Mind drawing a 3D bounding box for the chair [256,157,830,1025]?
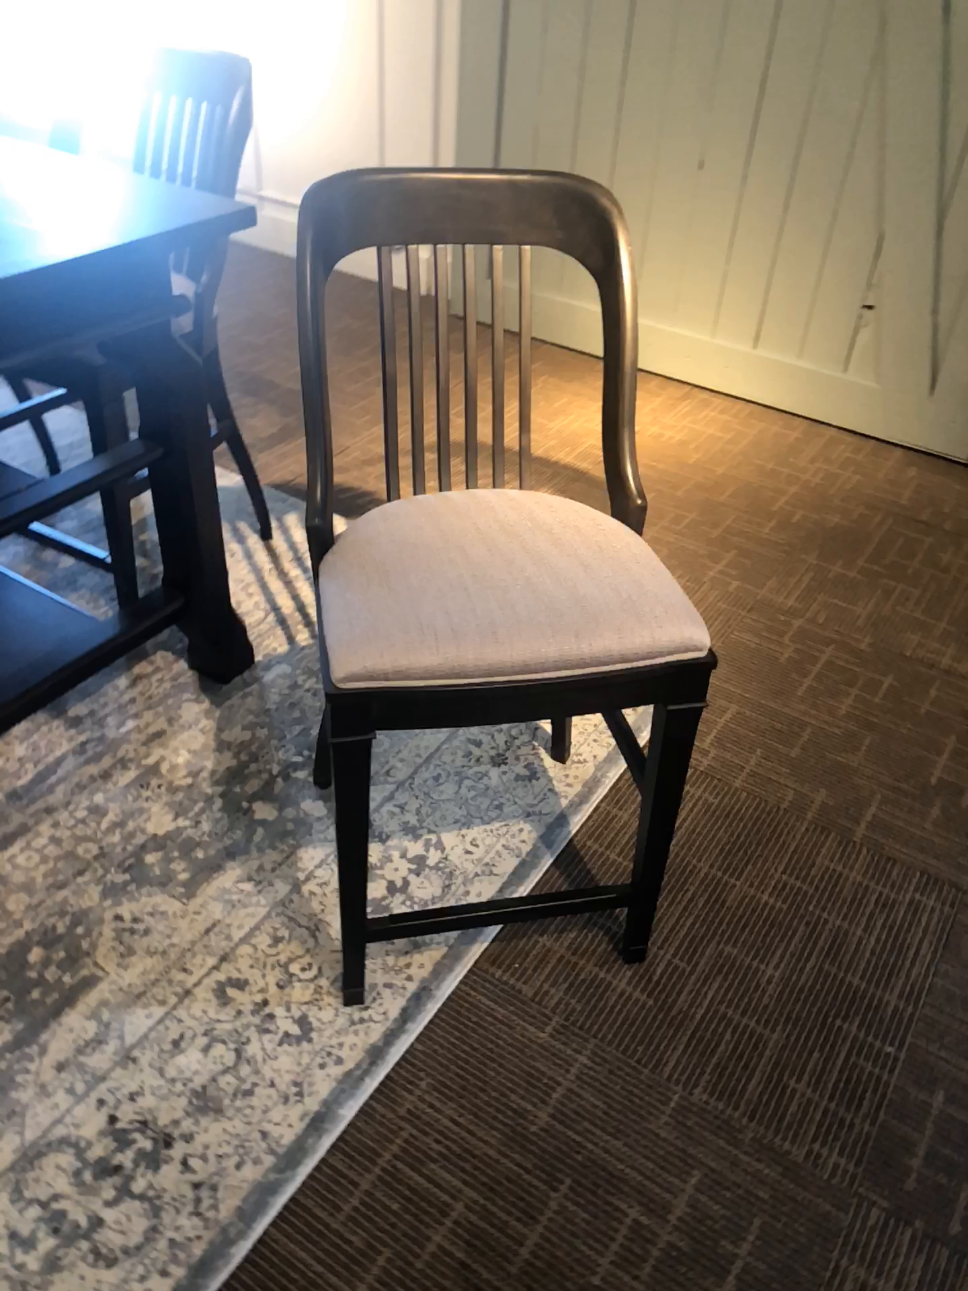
[{"bbox_3d":[-0.006,-0.066,1.443,0.480,0.985,0.573,-6,38,-13],"label":"chair"}]
